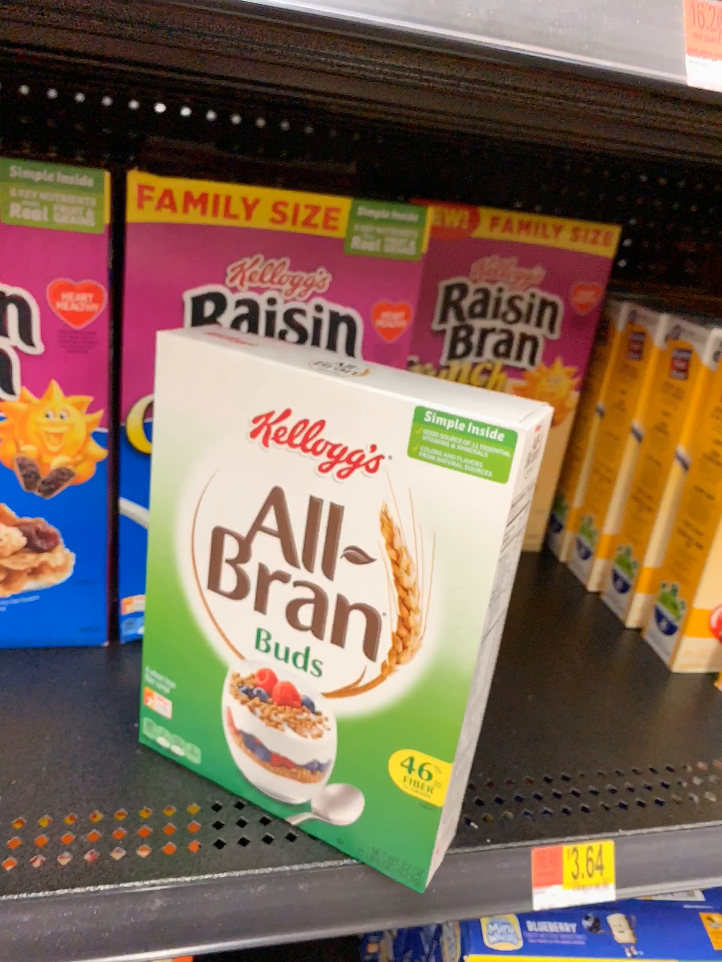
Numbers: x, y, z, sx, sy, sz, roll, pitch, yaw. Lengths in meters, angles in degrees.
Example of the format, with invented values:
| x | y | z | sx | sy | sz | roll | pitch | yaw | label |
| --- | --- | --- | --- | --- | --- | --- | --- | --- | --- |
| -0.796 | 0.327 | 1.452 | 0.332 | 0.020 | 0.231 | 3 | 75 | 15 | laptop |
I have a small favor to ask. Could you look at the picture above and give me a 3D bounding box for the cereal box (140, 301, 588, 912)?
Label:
| x | y | z | sx | sy | sz | roll | pitch | yaw | label |
| --- | --- | --- | --- | --- | --- | --- | --- | --- | --- |
| -0.016 | 0.059 | 0.383 | 0.190 | 0.259 | 0.050 | 18 | 22 | 22 | cereal box |
